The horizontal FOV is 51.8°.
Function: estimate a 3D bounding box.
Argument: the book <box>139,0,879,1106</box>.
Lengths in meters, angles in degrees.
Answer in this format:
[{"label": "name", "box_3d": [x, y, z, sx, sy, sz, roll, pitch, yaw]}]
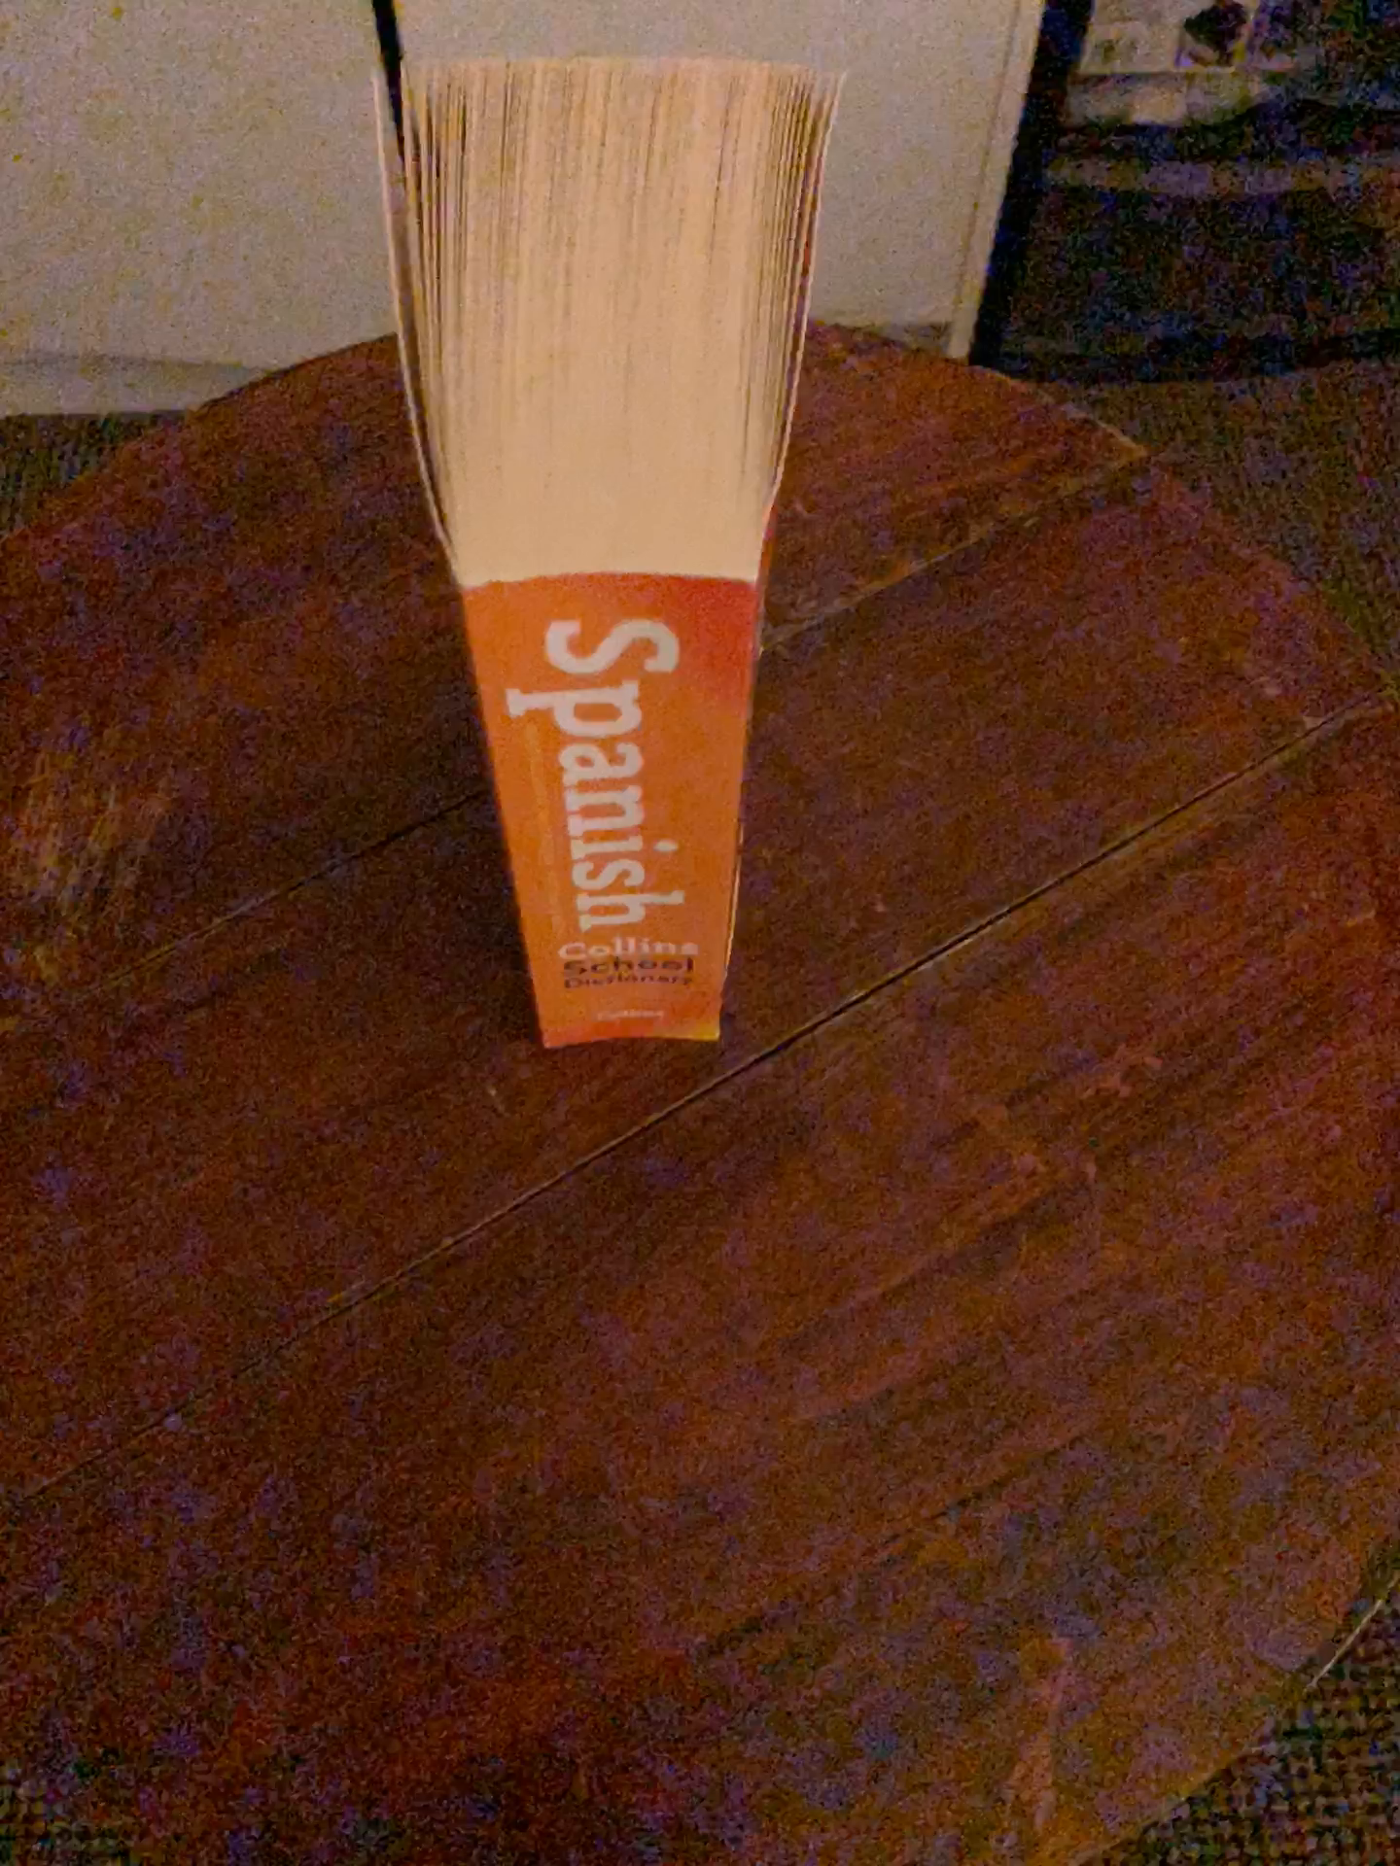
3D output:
[{"label": "book", "box_3d": [-0.013, -0.059, 0.267, 0.080, 0.149, 0.141, 0, 65, 10]}]
